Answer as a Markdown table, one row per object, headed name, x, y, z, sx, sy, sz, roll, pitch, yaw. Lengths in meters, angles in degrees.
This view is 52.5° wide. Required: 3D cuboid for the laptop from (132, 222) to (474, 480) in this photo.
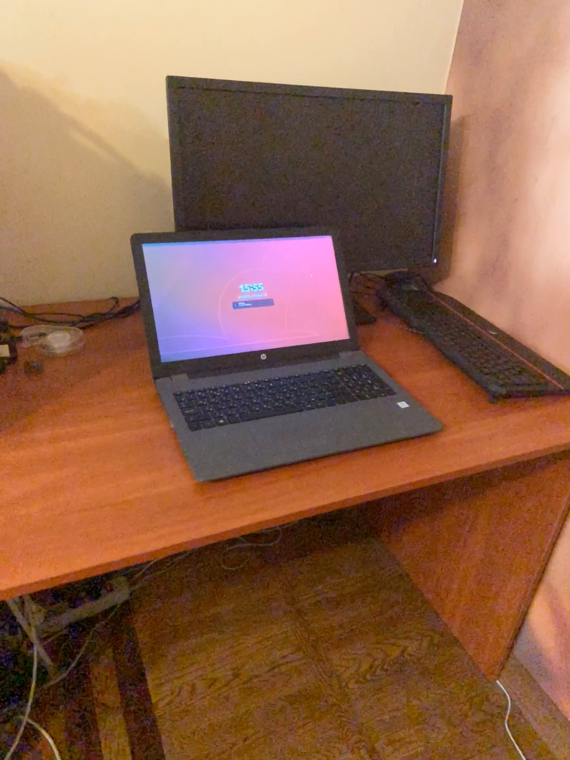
| name | x | y | z | sx | sy | sz | roll | pitch | yaw |
| --- | --- | --- | --- | --- | --- | --- | --- | --- | --- |
| laptop | -0.004 | -0.082 | 0.867 | 0.366 | 0.181 | 0.376 | -9 | 34 | -23 |
